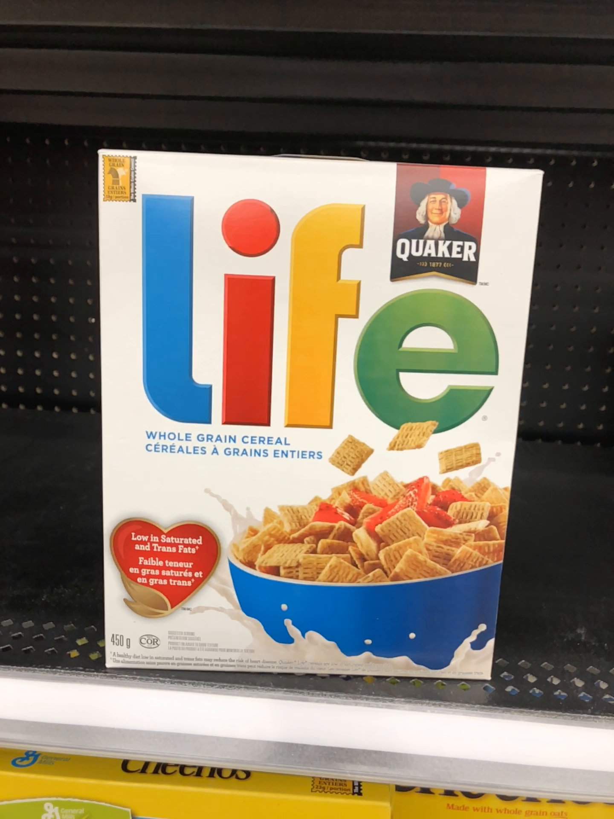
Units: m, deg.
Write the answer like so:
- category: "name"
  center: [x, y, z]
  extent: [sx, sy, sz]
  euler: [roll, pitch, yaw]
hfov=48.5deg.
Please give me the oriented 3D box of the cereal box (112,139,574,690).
- category: "cereal box"
  center: [0.010, 0.007, 0.351]
  extent: [0.200, 0.259, 0.060]
  euler: [2, 12, -1]
